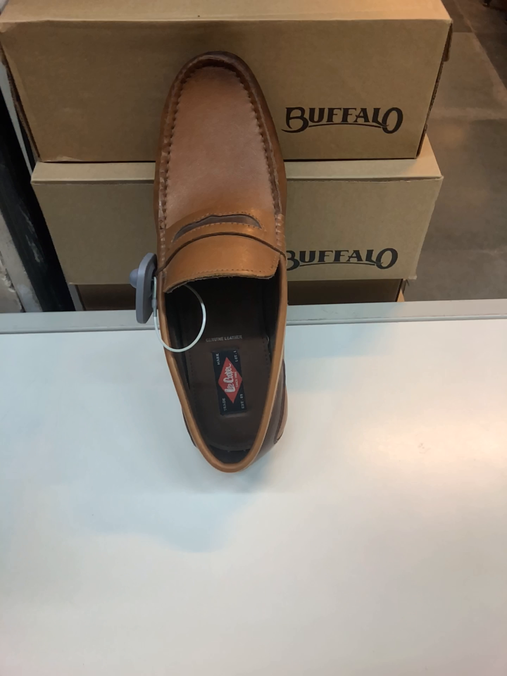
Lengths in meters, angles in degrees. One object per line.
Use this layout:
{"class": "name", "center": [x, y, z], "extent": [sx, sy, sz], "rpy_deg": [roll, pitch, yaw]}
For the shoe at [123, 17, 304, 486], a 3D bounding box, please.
{"class": "shoe", "center": [-0.023, -0.055, 0.409], "extent": [0.103, 0.103, 0.294], "rpy_deg": [-2, 92, 3]}
